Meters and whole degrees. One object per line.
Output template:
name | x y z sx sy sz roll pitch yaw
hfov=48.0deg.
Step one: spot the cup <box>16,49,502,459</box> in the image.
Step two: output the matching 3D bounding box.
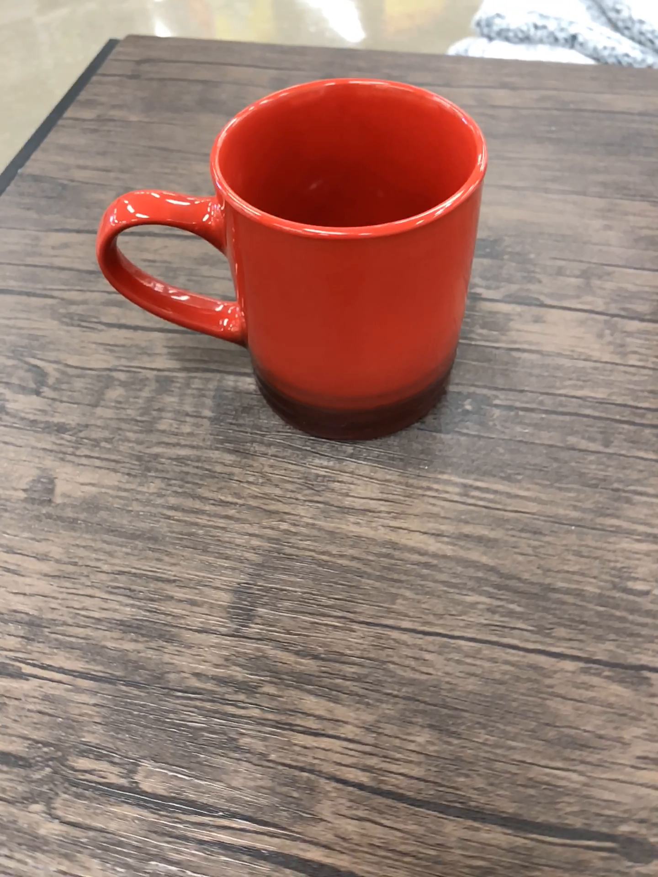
cup | -0.015 -0.069 0.283 0.140 0.110 0.100 3 53 5
